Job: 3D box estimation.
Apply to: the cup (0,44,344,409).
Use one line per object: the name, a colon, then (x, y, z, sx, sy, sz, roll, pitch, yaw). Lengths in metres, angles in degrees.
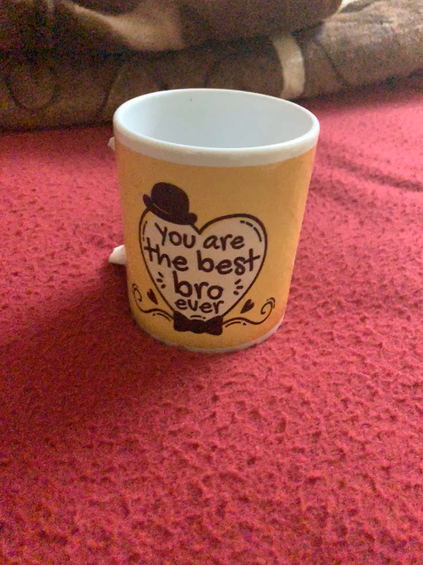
cup: (-0.019, -0.031, 0.200, 0.110, 0.109, 0.080, 24, 45, 24)

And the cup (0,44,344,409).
cup: (-0.019, -0.031, 0.200, 0.110, 0.109, 0.080, 24, 45, 24)
